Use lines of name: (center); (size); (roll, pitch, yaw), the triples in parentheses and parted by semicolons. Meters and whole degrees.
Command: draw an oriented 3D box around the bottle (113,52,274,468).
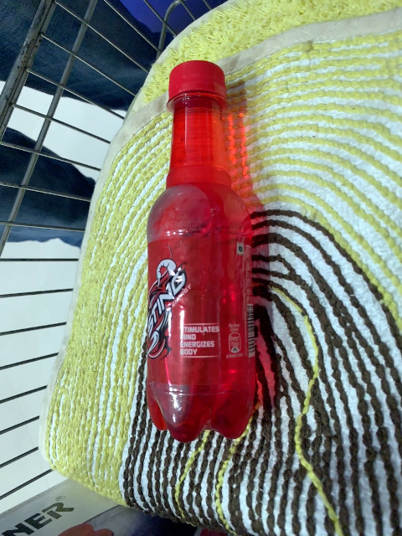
bottle: (-0.005, -0.004, 0.202); (0.060, 0.040, 0.170); (-6, 83, 35)
